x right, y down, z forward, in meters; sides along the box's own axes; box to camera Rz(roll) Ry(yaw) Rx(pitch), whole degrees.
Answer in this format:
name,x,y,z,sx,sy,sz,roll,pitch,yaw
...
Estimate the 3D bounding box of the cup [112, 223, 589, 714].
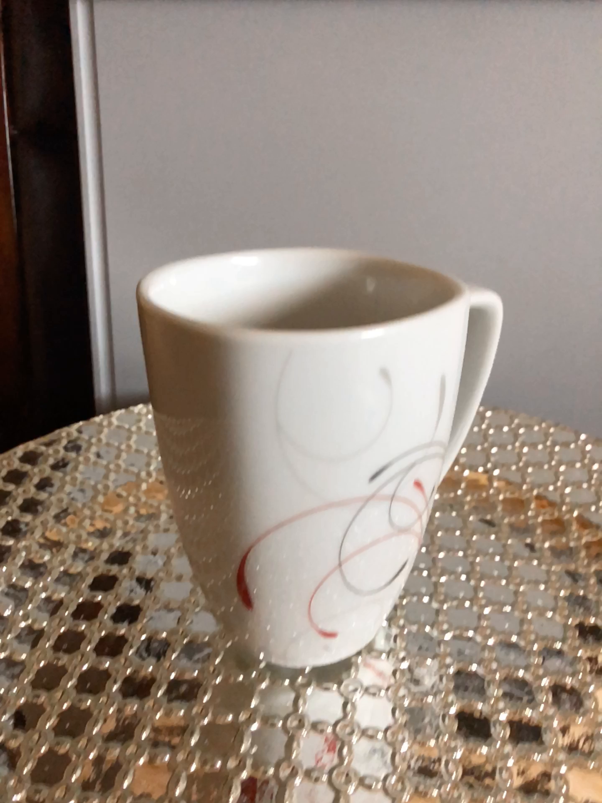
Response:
name,x,y,z,sx,sy,sz,roll,pitch,yaw
cup,0.015,0.006,0.212,0.110,0.100,0.080,-19,30,-37
